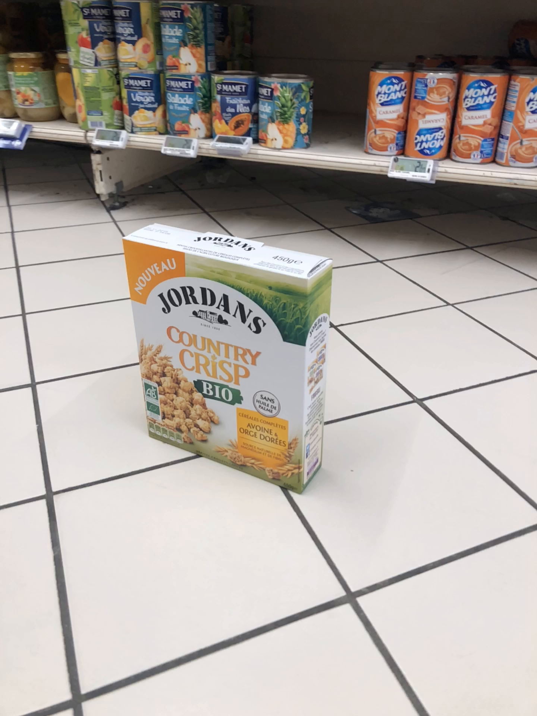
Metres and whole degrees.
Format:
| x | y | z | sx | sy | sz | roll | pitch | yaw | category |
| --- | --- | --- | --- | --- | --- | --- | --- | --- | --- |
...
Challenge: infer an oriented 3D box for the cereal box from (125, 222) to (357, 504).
| x | y | z | sx | sy | sz | roll | pitch | yaw | category |
| --- | --- | --- | --- | --- | --- | --- | --- | --- | --- |
| -0.028 | 0.001 | 0.538 | 0.190 | 0.209 | 0.060 | 17 | 33 | 26 | cereal box |
